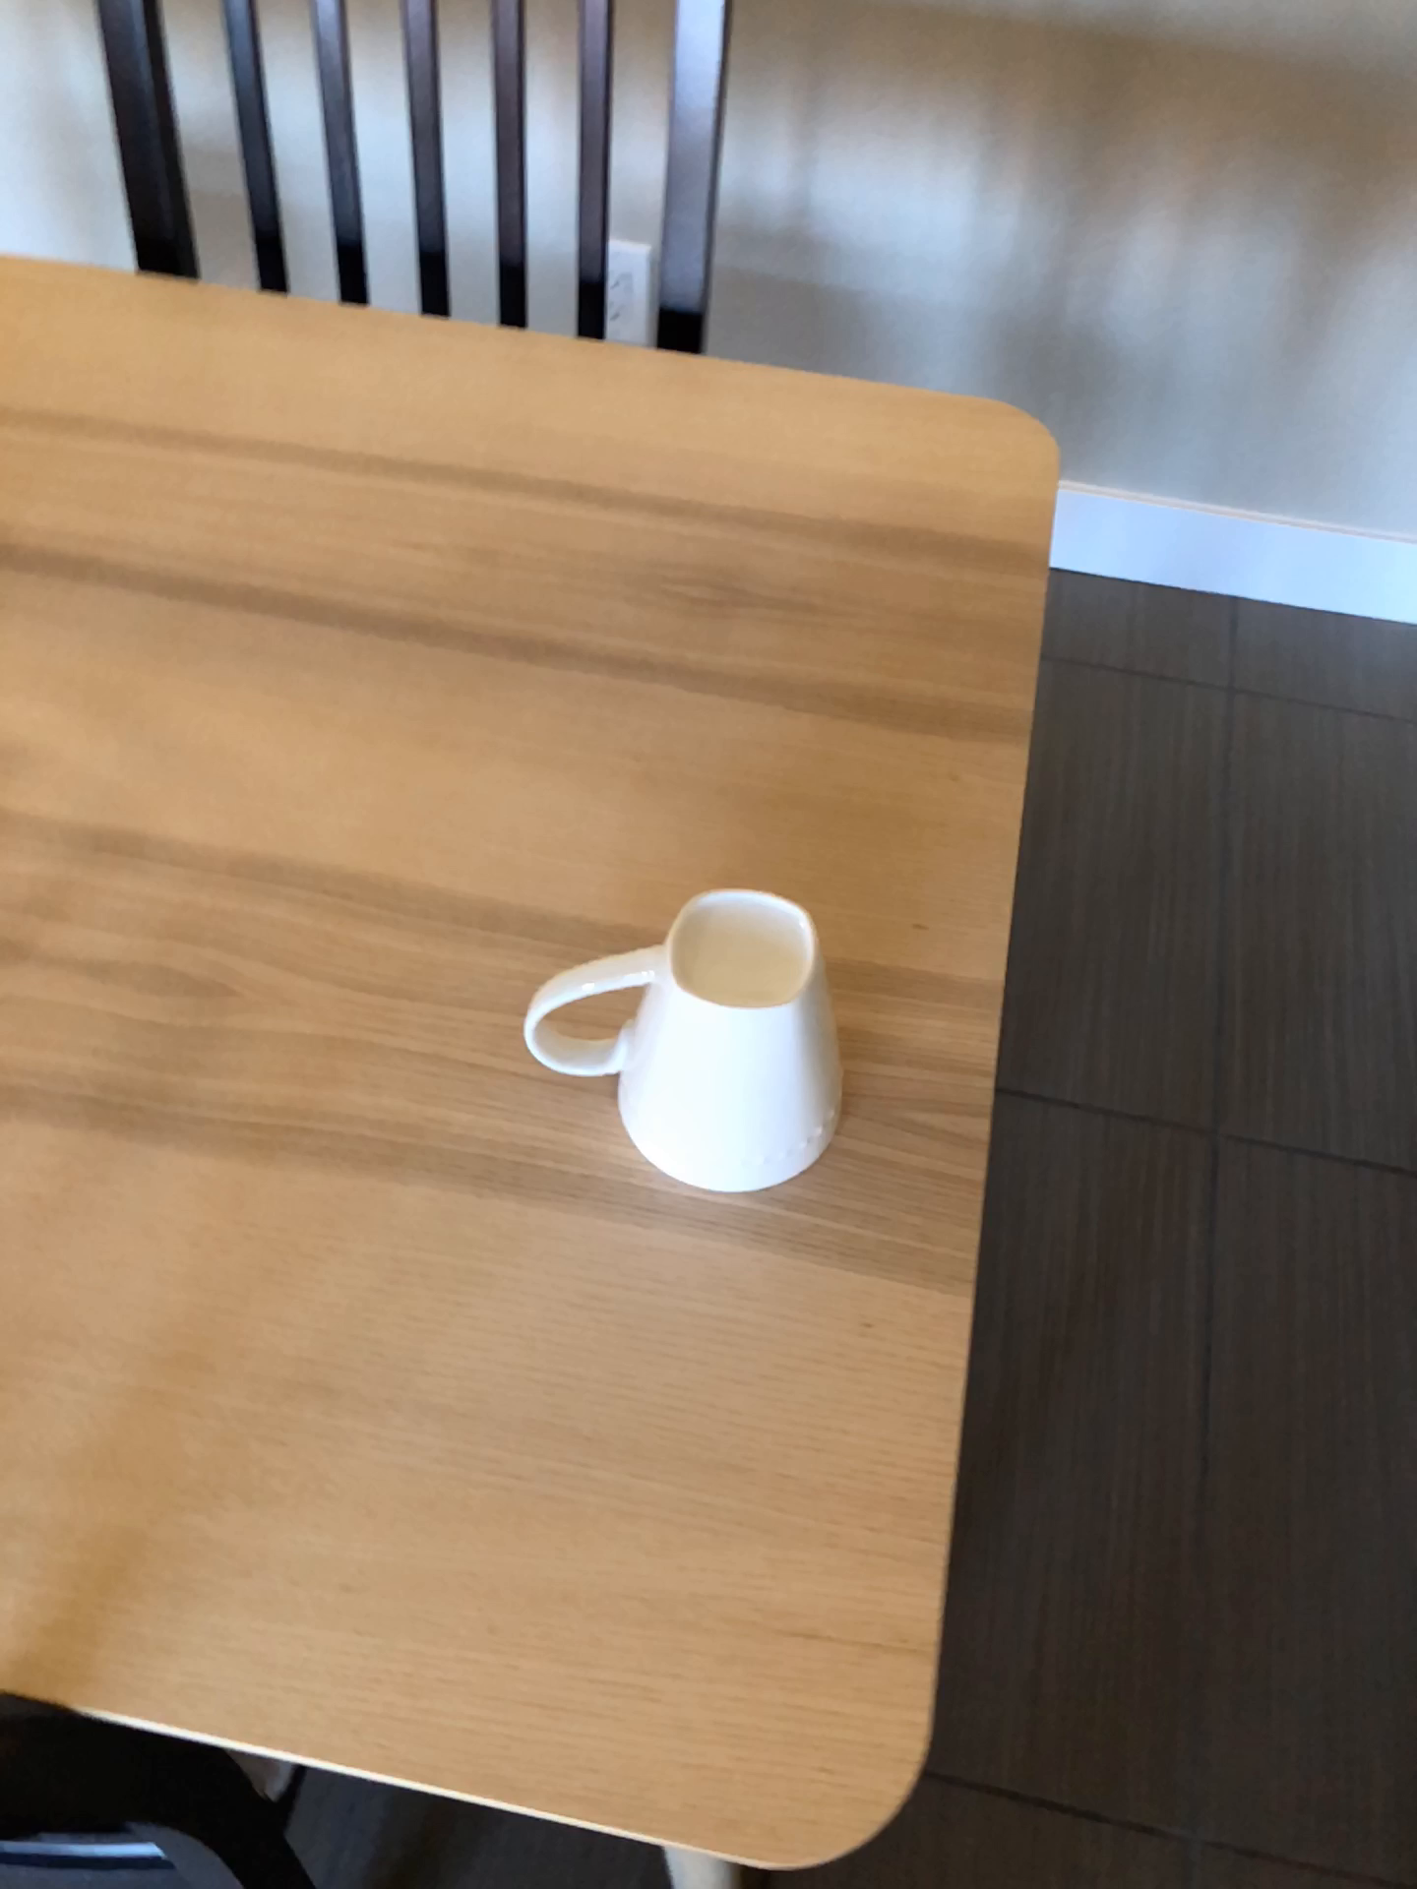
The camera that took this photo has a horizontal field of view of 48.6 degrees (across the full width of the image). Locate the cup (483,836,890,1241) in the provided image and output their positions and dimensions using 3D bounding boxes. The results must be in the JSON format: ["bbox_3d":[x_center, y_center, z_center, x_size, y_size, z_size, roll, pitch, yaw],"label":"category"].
[{"bbox_3d":[-0.007,0.039,0.616,0.140,0.120,0.100,4,55,0],"label":"cup"}]
